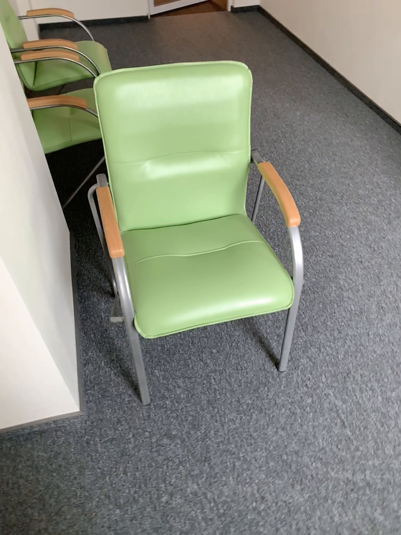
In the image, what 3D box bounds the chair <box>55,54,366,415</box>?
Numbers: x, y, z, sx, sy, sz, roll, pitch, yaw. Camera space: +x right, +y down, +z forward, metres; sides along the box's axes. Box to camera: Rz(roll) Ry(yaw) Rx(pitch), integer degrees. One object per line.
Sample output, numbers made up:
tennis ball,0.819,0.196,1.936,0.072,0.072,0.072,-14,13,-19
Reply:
chair,-0.032,-0.079,1.321,0.620,0.876,0.623,-11,48,-9
